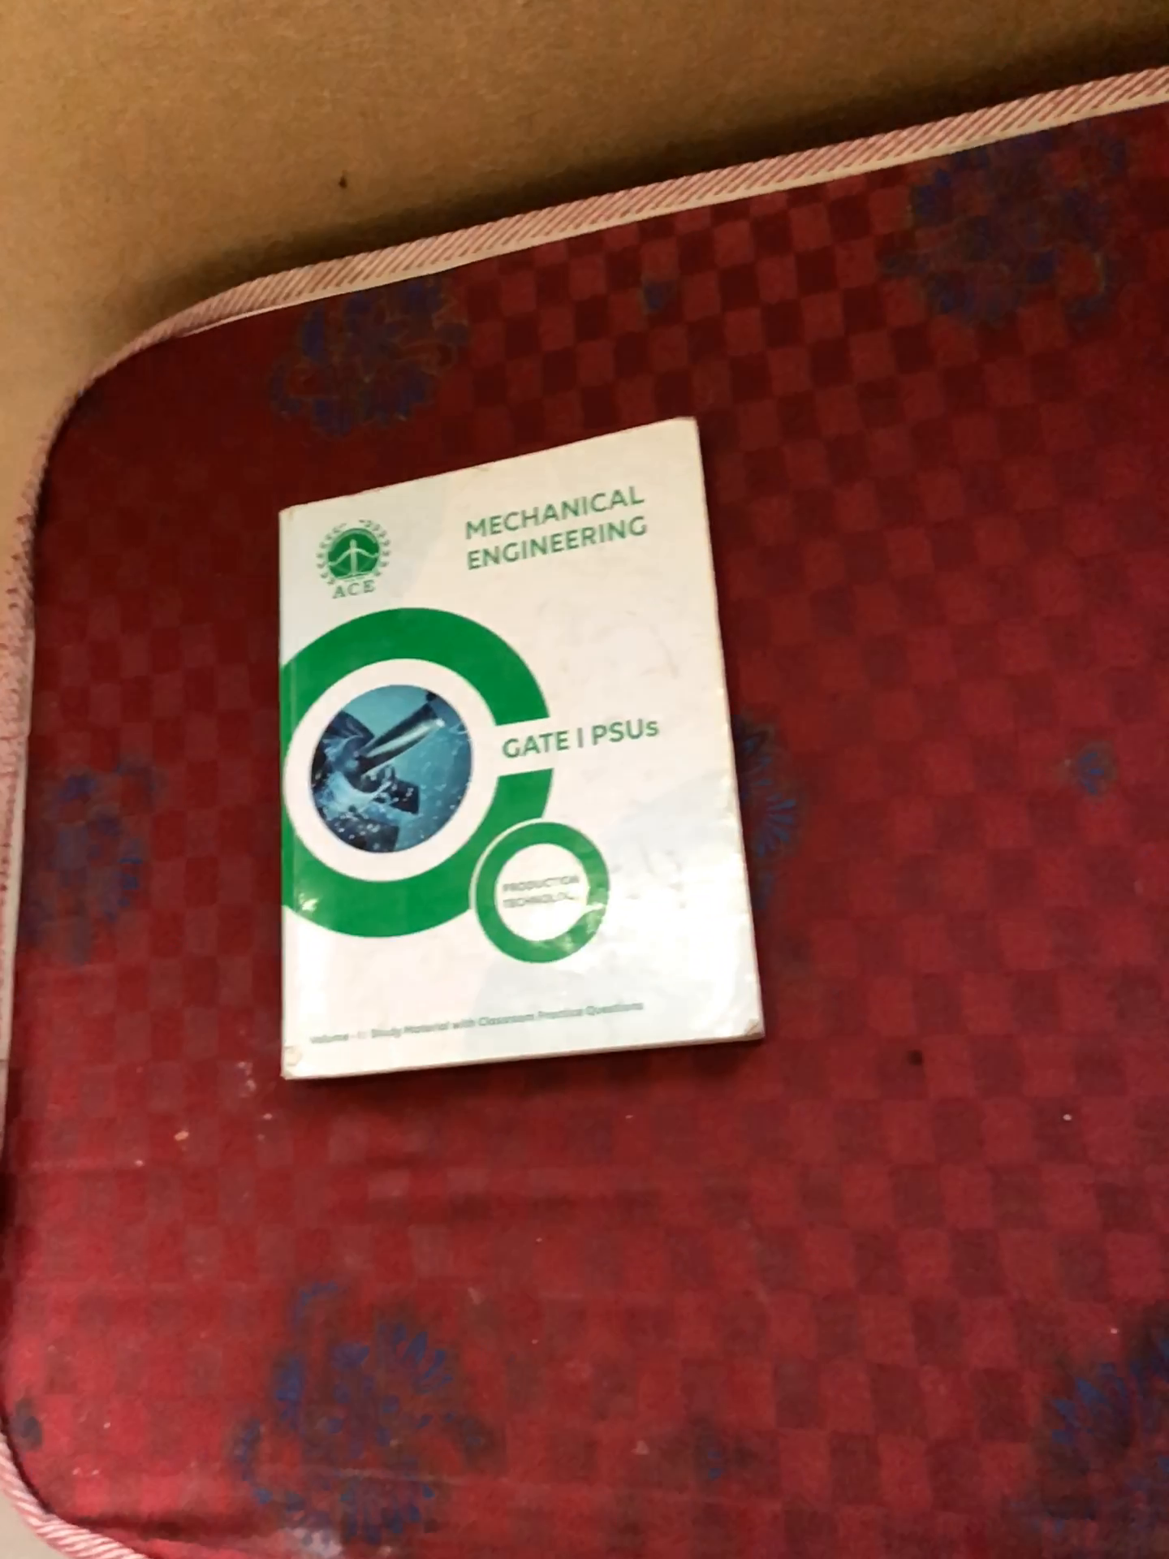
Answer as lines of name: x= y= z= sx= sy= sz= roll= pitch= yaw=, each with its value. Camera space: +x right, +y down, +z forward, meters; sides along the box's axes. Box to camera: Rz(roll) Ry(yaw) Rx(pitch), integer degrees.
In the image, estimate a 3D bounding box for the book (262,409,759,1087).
book: x=-0.043 y=-0.014 z=0.584 sx=0.210 sy=0.030 sz=0.280 roll=-8 pitch=73 yaw=14
